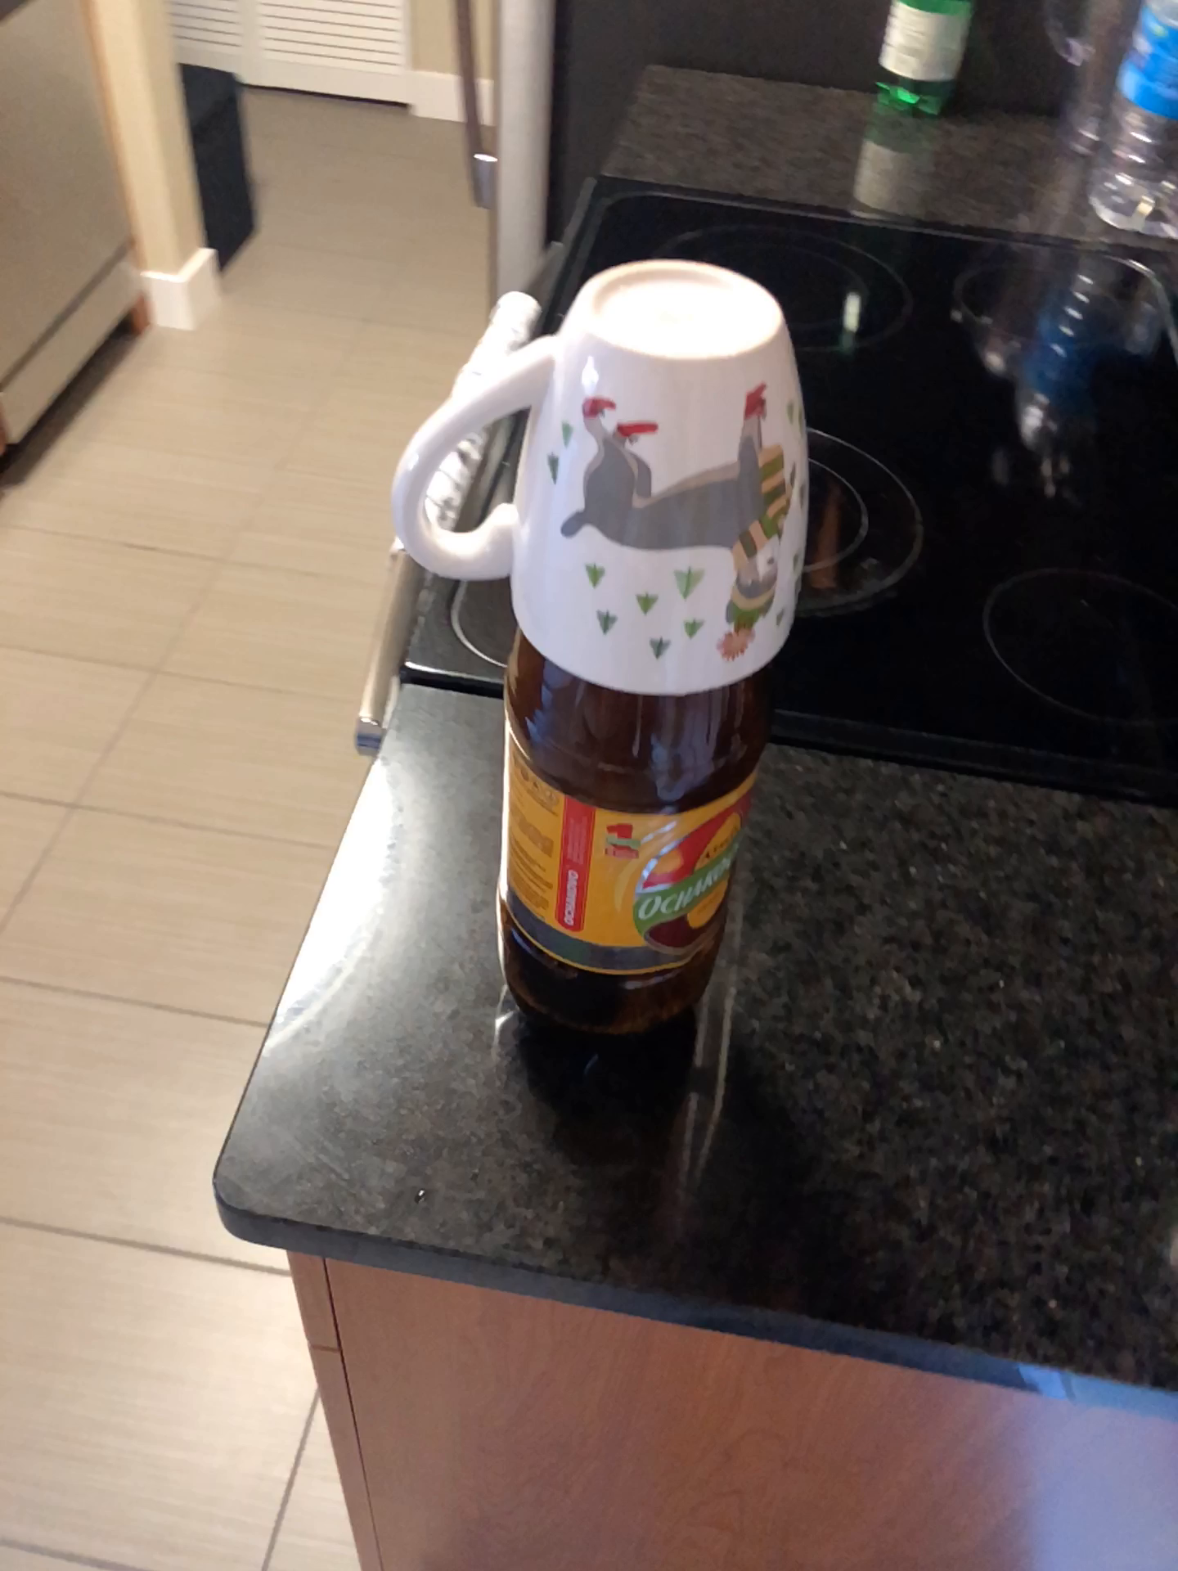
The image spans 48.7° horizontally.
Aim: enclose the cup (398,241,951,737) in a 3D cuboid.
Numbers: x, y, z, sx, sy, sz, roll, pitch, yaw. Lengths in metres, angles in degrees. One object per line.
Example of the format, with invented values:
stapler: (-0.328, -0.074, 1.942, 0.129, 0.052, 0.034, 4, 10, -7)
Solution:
cup: (0.016, -0.096, 0.417, 0.140, 0.110, 0.100, -6, 49, -12)
